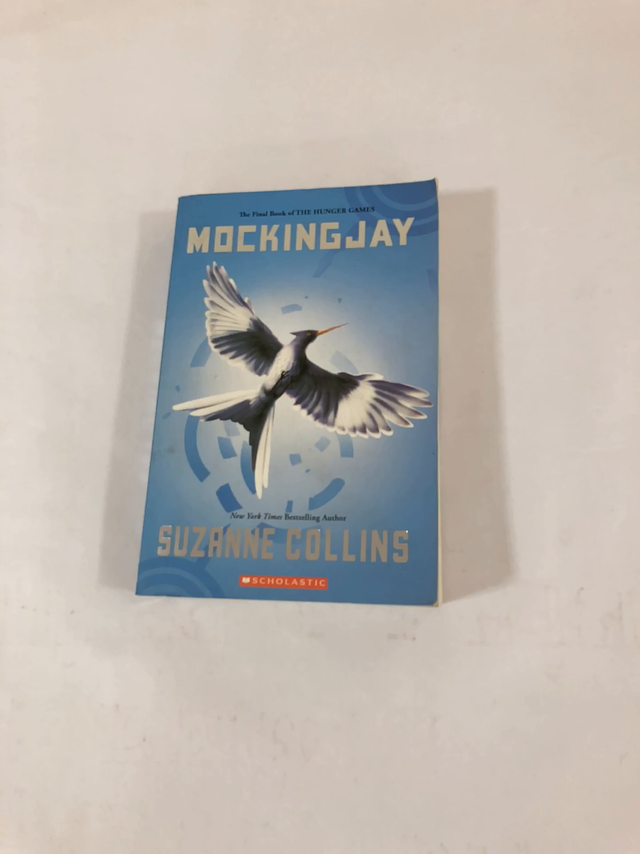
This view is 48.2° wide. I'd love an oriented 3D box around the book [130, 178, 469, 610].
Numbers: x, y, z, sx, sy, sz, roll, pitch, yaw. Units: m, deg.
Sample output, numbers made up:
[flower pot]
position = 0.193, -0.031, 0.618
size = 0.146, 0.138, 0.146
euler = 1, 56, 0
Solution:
[book]
position = -0.006, -0.017, 0.326
size = 0.138, 0.029, 0.190
euler = 0, 75, 8
